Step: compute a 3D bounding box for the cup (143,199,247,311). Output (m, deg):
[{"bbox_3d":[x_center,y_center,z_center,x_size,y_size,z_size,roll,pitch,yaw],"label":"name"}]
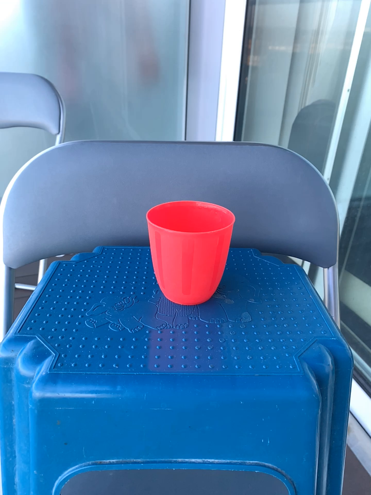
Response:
[{"bbox_3d":[0.006,0.006,0.366,0.086,0.077,0.074,2,30,-2],"label":"cup"}]
